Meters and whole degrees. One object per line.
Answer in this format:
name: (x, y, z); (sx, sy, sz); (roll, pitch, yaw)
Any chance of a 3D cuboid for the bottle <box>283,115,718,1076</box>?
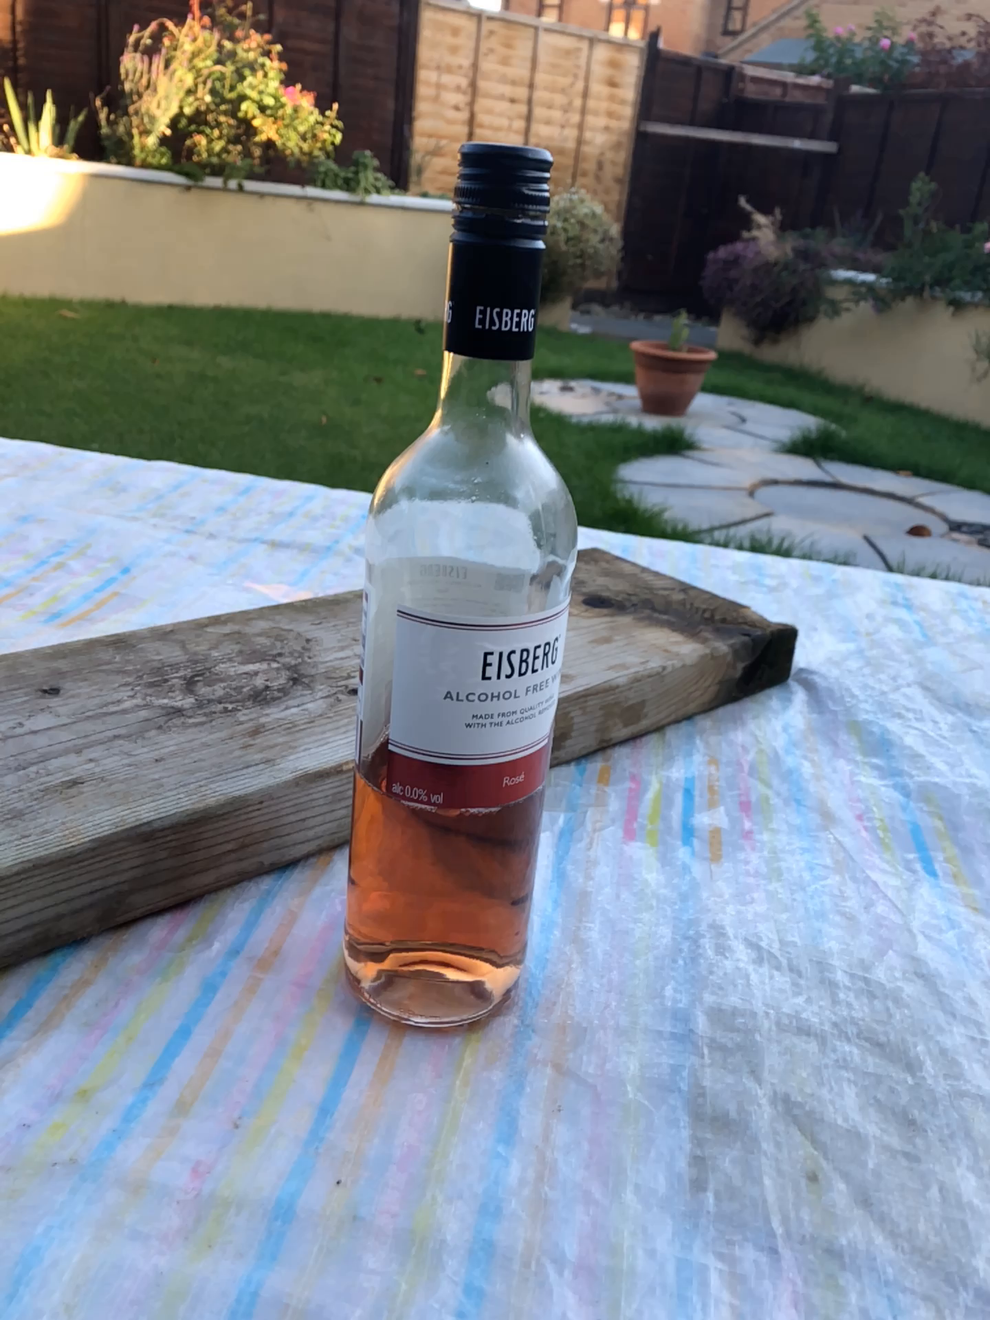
bottle: (-0.009, -0.017, 0.366); (0.090, 0.288, 0.080); (-14, 29, -40)
